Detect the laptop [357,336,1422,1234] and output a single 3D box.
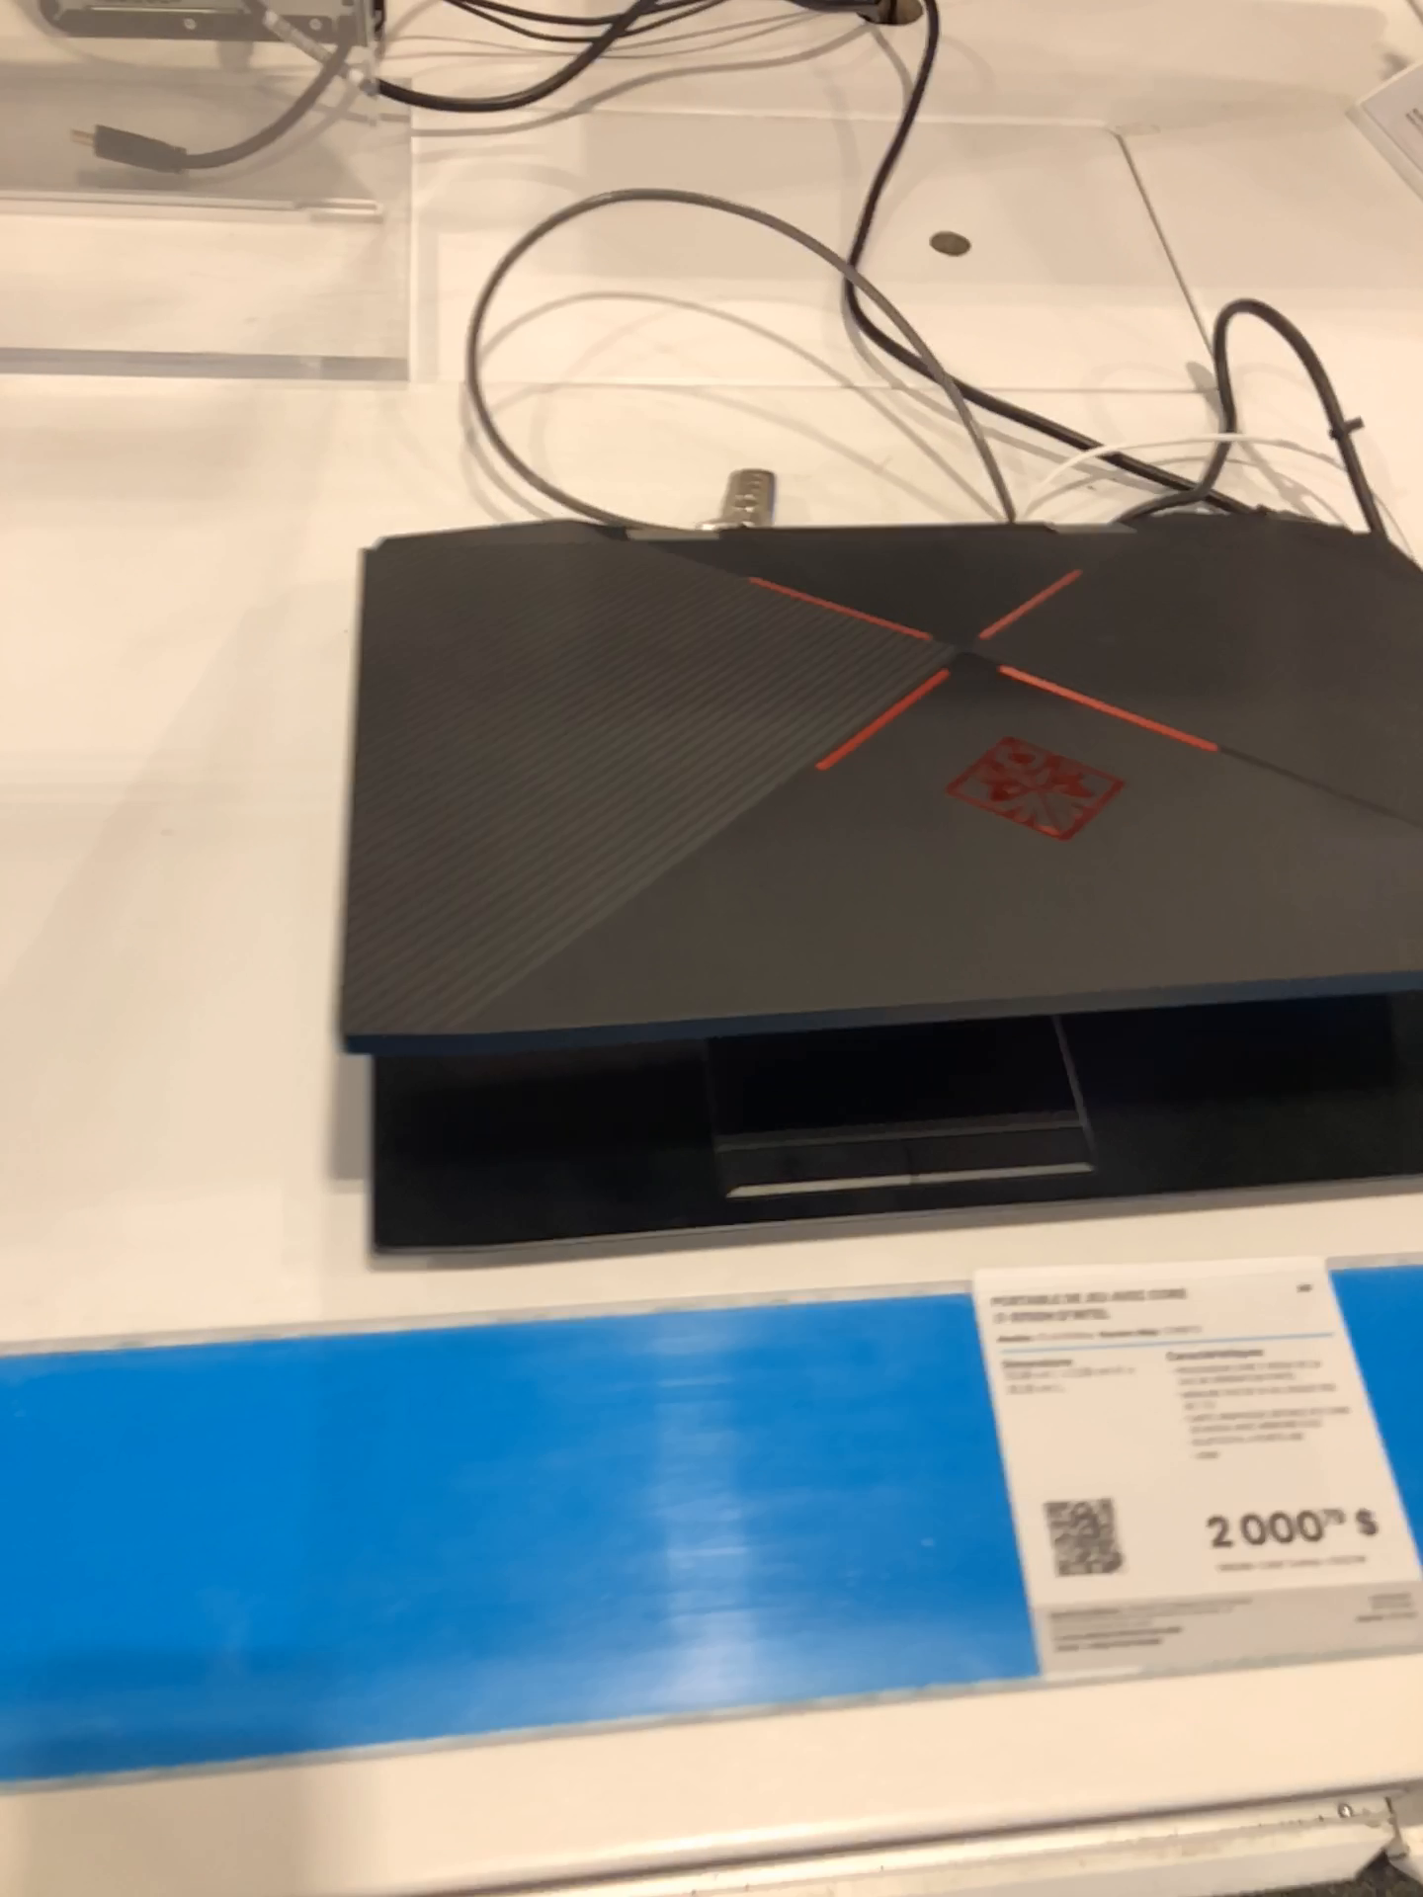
[{"bbox_3d":[0.082,-0.057,0.436,0.346,0.085,0.235,-2,57,-8],"label":"laptop"}]
